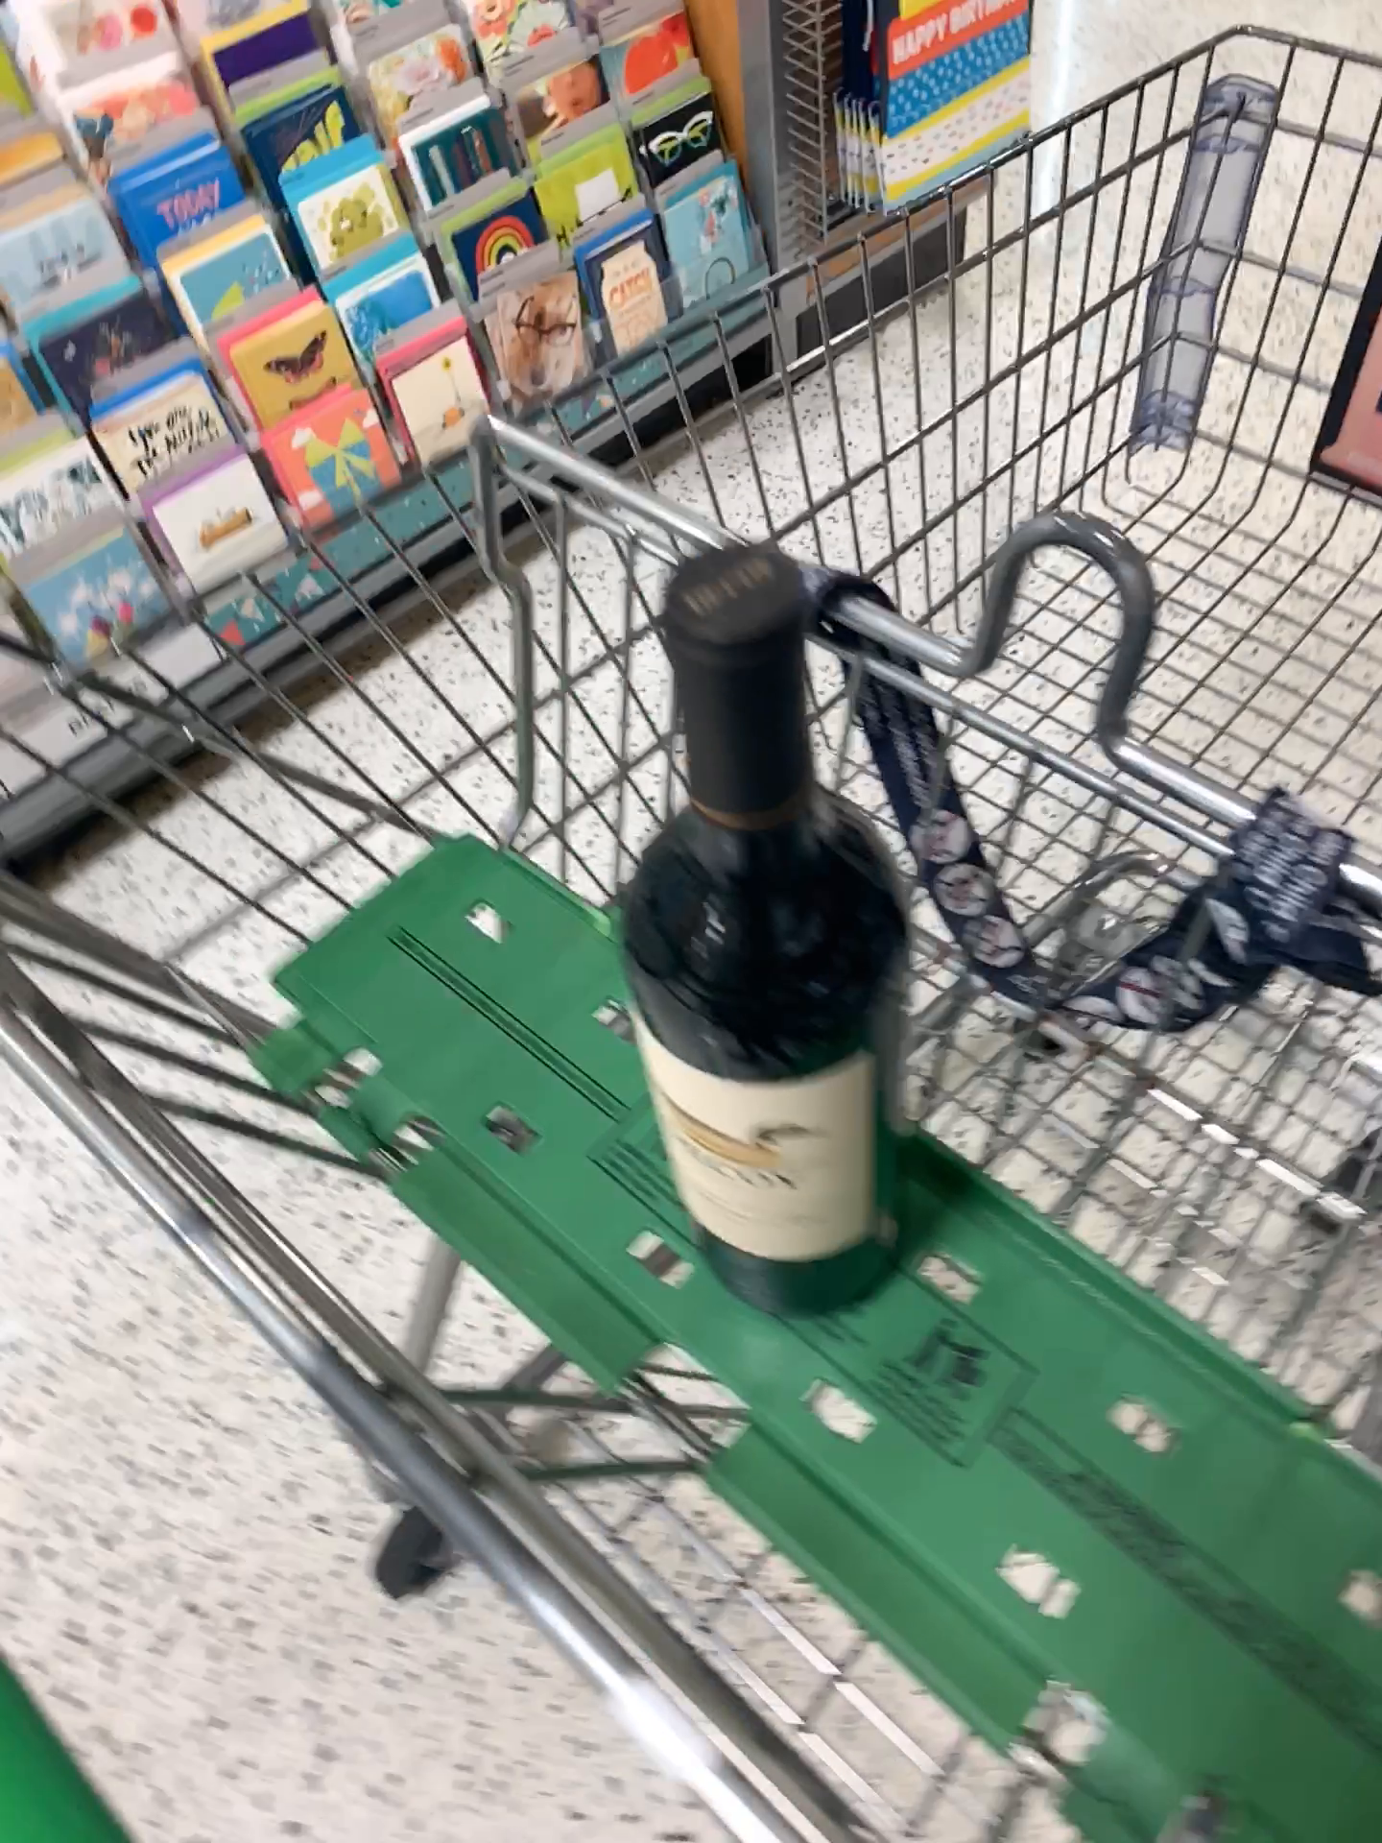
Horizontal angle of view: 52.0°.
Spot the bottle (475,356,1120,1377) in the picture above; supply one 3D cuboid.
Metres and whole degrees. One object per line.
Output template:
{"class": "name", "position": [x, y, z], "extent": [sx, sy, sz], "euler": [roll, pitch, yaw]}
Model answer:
{"class": "bottle", "position": [0.035, 0.014, 0.388], "extent": [0.090, 0.297, 0.091], "euler": [-3, 54, 4]}
